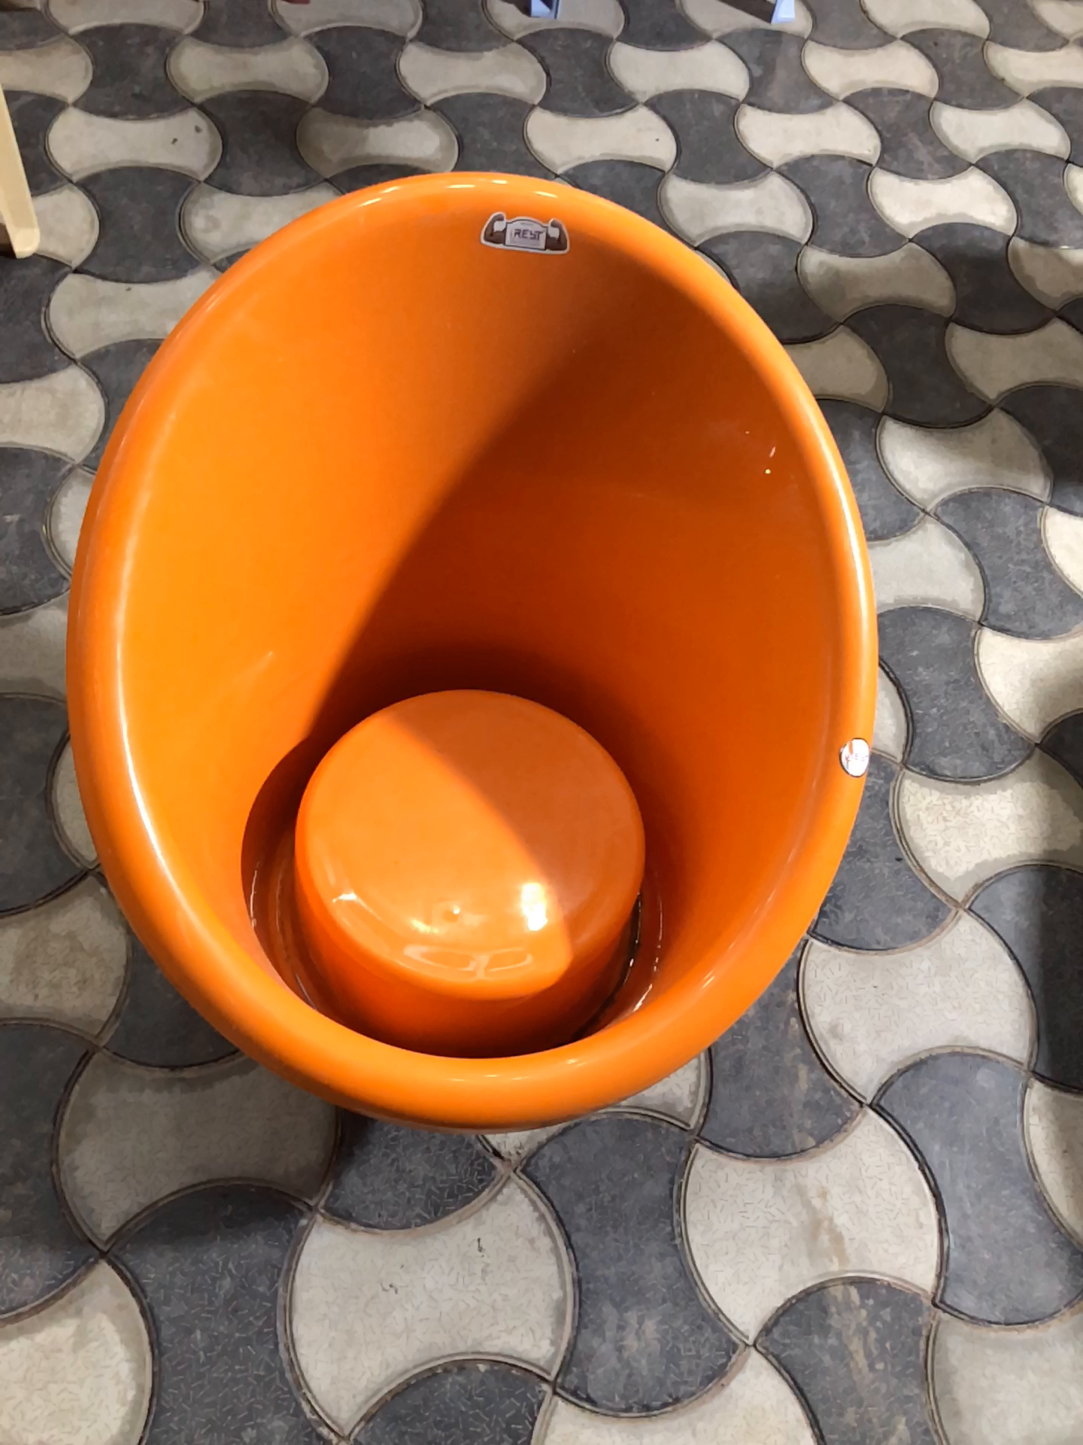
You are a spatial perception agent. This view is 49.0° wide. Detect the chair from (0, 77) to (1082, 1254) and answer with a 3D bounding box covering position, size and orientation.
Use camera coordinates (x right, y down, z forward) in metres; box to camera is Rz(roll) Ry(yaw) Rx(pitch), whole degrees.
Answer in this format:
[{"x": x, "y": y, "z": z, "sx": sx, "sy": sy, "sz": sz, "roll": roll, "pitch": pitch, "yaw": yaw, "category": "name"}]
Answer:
[{"x": -0.073, "y": -0.007, "z": 1.026, "sx": 0.660, "sy": 0.666, "sz": 0.724, "roll": 2, "pitch": 54, "yaw": -6, "category": "chair"}]
